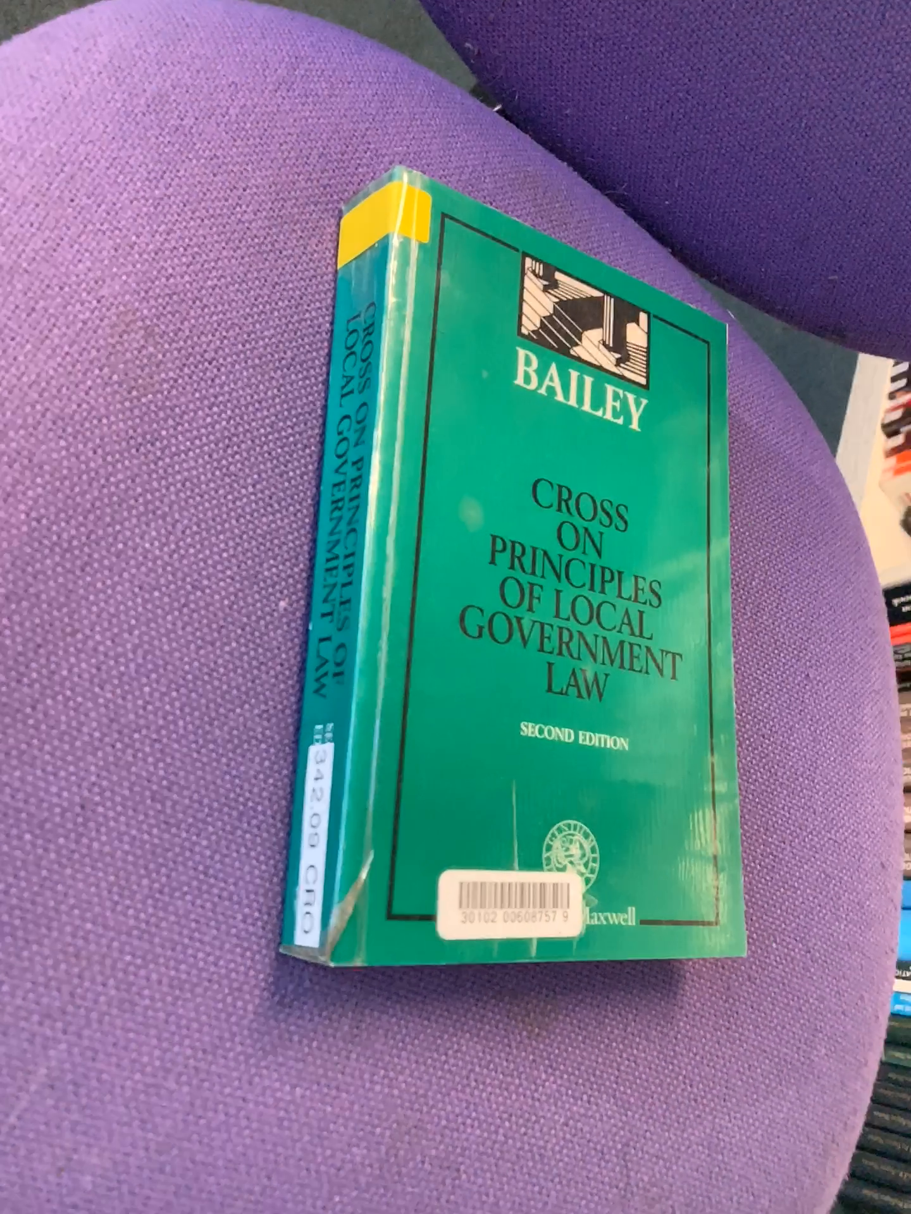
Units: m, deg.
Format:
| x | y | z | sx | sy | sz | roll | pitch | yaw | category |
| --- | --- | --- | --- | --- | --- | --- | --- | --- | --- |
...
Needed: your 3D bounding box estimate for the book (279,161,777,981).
| x | y | z | sx | sy | sz | roll | pitch | yaw | category |
| --- | --- | --- | --- | --- | --- | --- | --- | --- | --- |
| 0.032 | -0.007 | 0.314 | 0.161 | 0.040 | 0.236 | 12 | 71 | -33 | book |
